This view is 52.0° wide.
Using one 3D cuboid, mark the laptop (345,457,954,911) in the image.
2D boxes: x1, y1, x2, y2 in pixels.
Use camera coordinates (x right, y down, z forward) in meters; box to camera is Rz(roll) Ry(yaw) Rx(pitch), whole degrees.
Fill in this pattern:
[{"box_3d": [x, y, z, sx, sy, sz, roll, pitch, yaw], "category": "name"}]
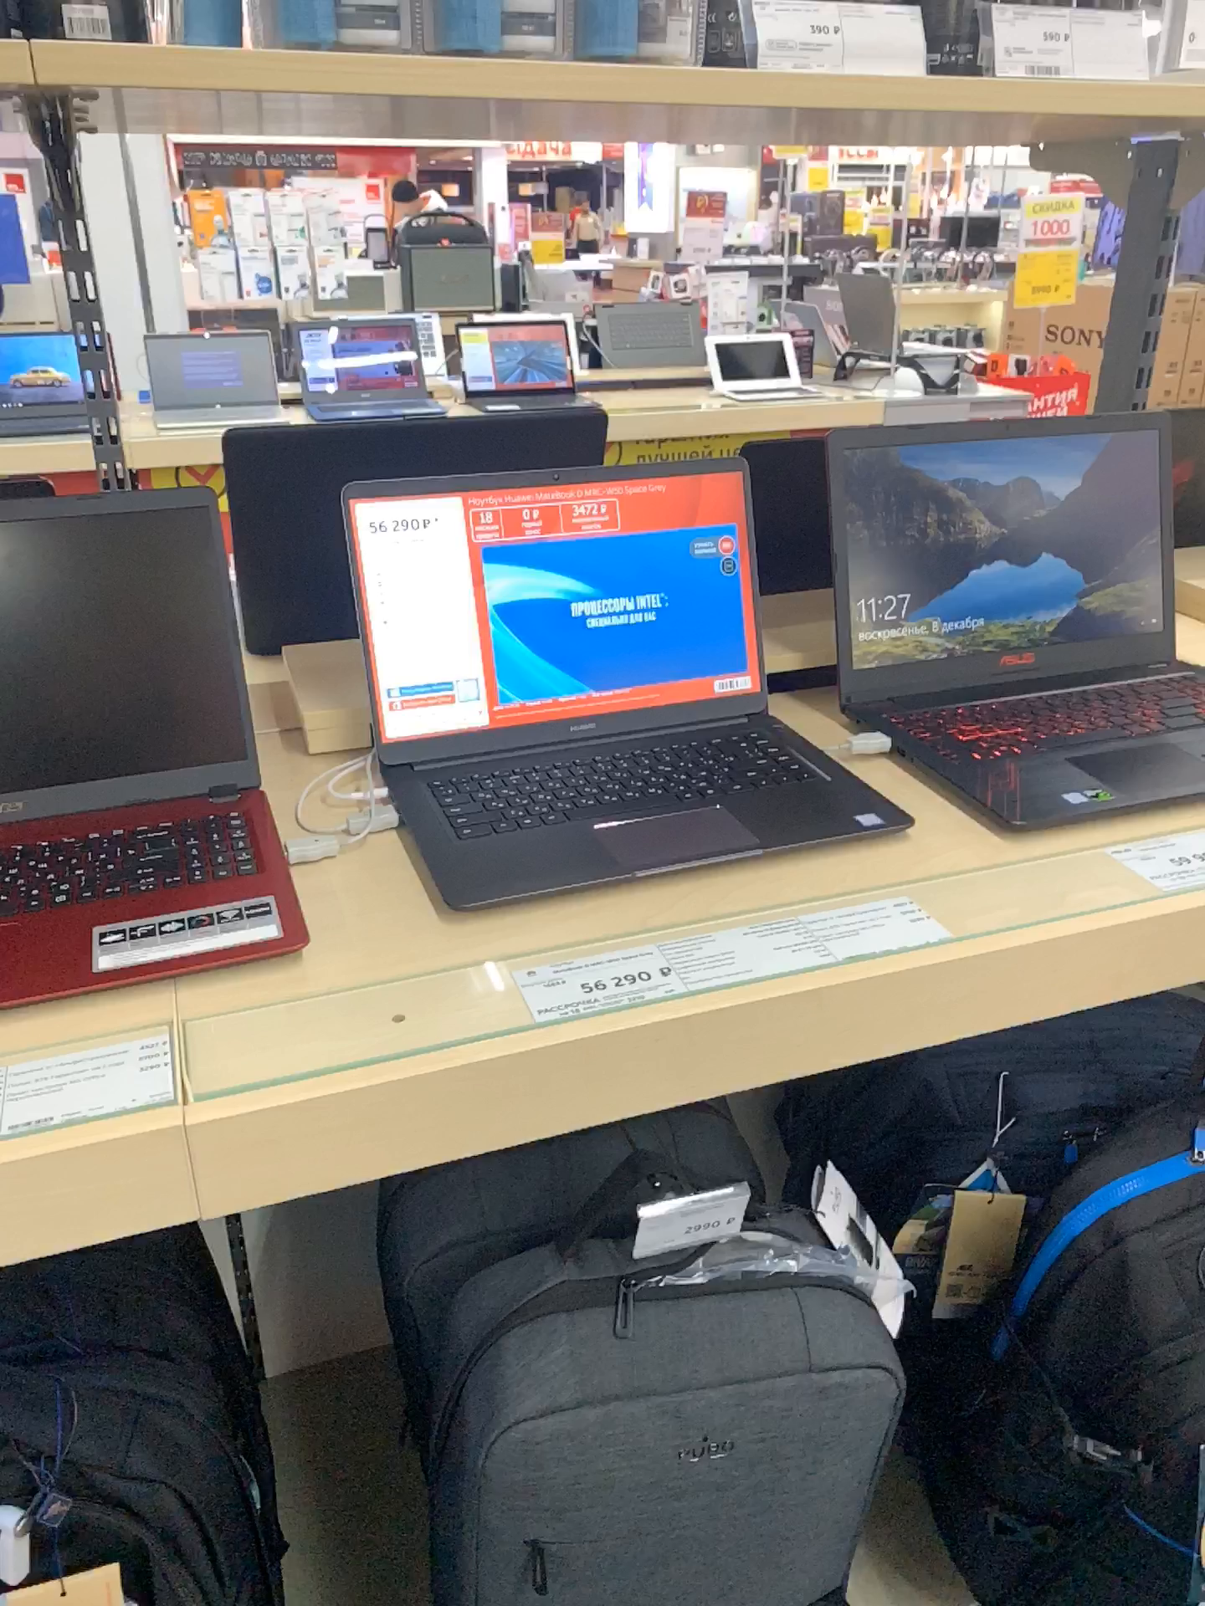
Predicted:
[{"box_3d": [0.016, -0.115, 0.928, 0.348, 0.209, 0.304, -9, 27, -19], "category": "laptop"}]
